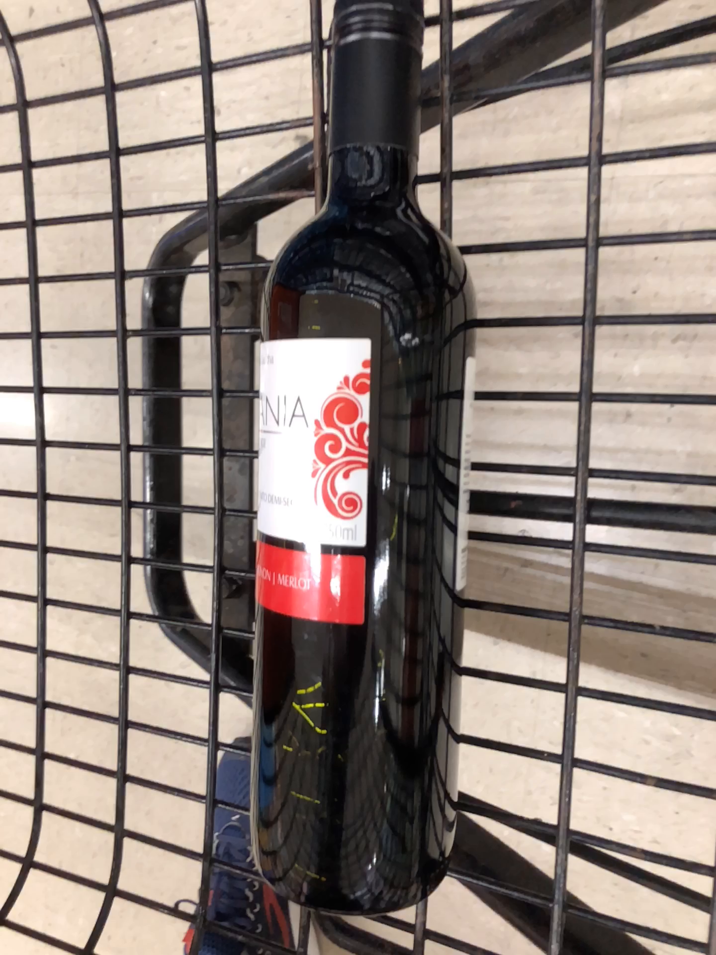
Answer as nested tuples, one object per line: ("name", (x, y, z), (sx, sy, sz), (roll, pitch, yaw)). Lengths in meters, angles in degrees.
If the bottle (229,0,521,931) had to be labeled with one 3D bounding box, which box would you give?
("bottle", (-0.001, -0.022, 0.266), (0.080, 0.070, 0.300), (-165, 74, -71))
